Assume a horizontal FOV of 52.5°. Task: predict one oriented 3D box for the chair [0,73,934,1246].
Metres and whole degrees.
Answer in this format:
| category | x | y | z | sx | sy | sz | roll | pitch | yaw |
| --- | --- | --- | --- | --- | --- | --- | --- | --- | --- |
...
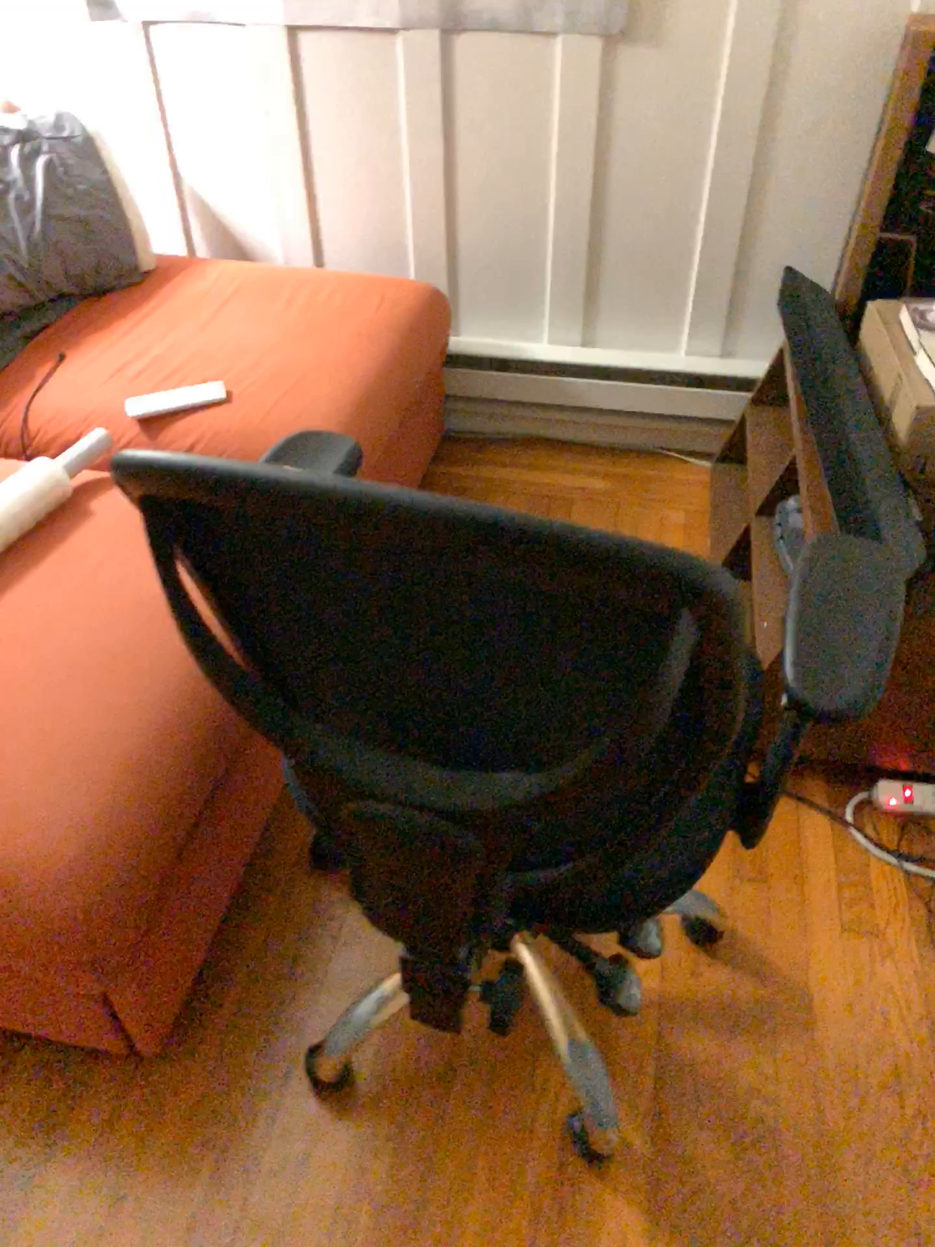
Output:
| category | x | y | z | sx | sy | sz | roll | pitch | yaw |
| --- | --- | --- | --- | --- | --- | --- | --- | --- | --- |
| chair | 0.000 | 0.099 | 0.982 | 0.641 | 0.974 | 0.663 | 16 | 49 | 18 |
